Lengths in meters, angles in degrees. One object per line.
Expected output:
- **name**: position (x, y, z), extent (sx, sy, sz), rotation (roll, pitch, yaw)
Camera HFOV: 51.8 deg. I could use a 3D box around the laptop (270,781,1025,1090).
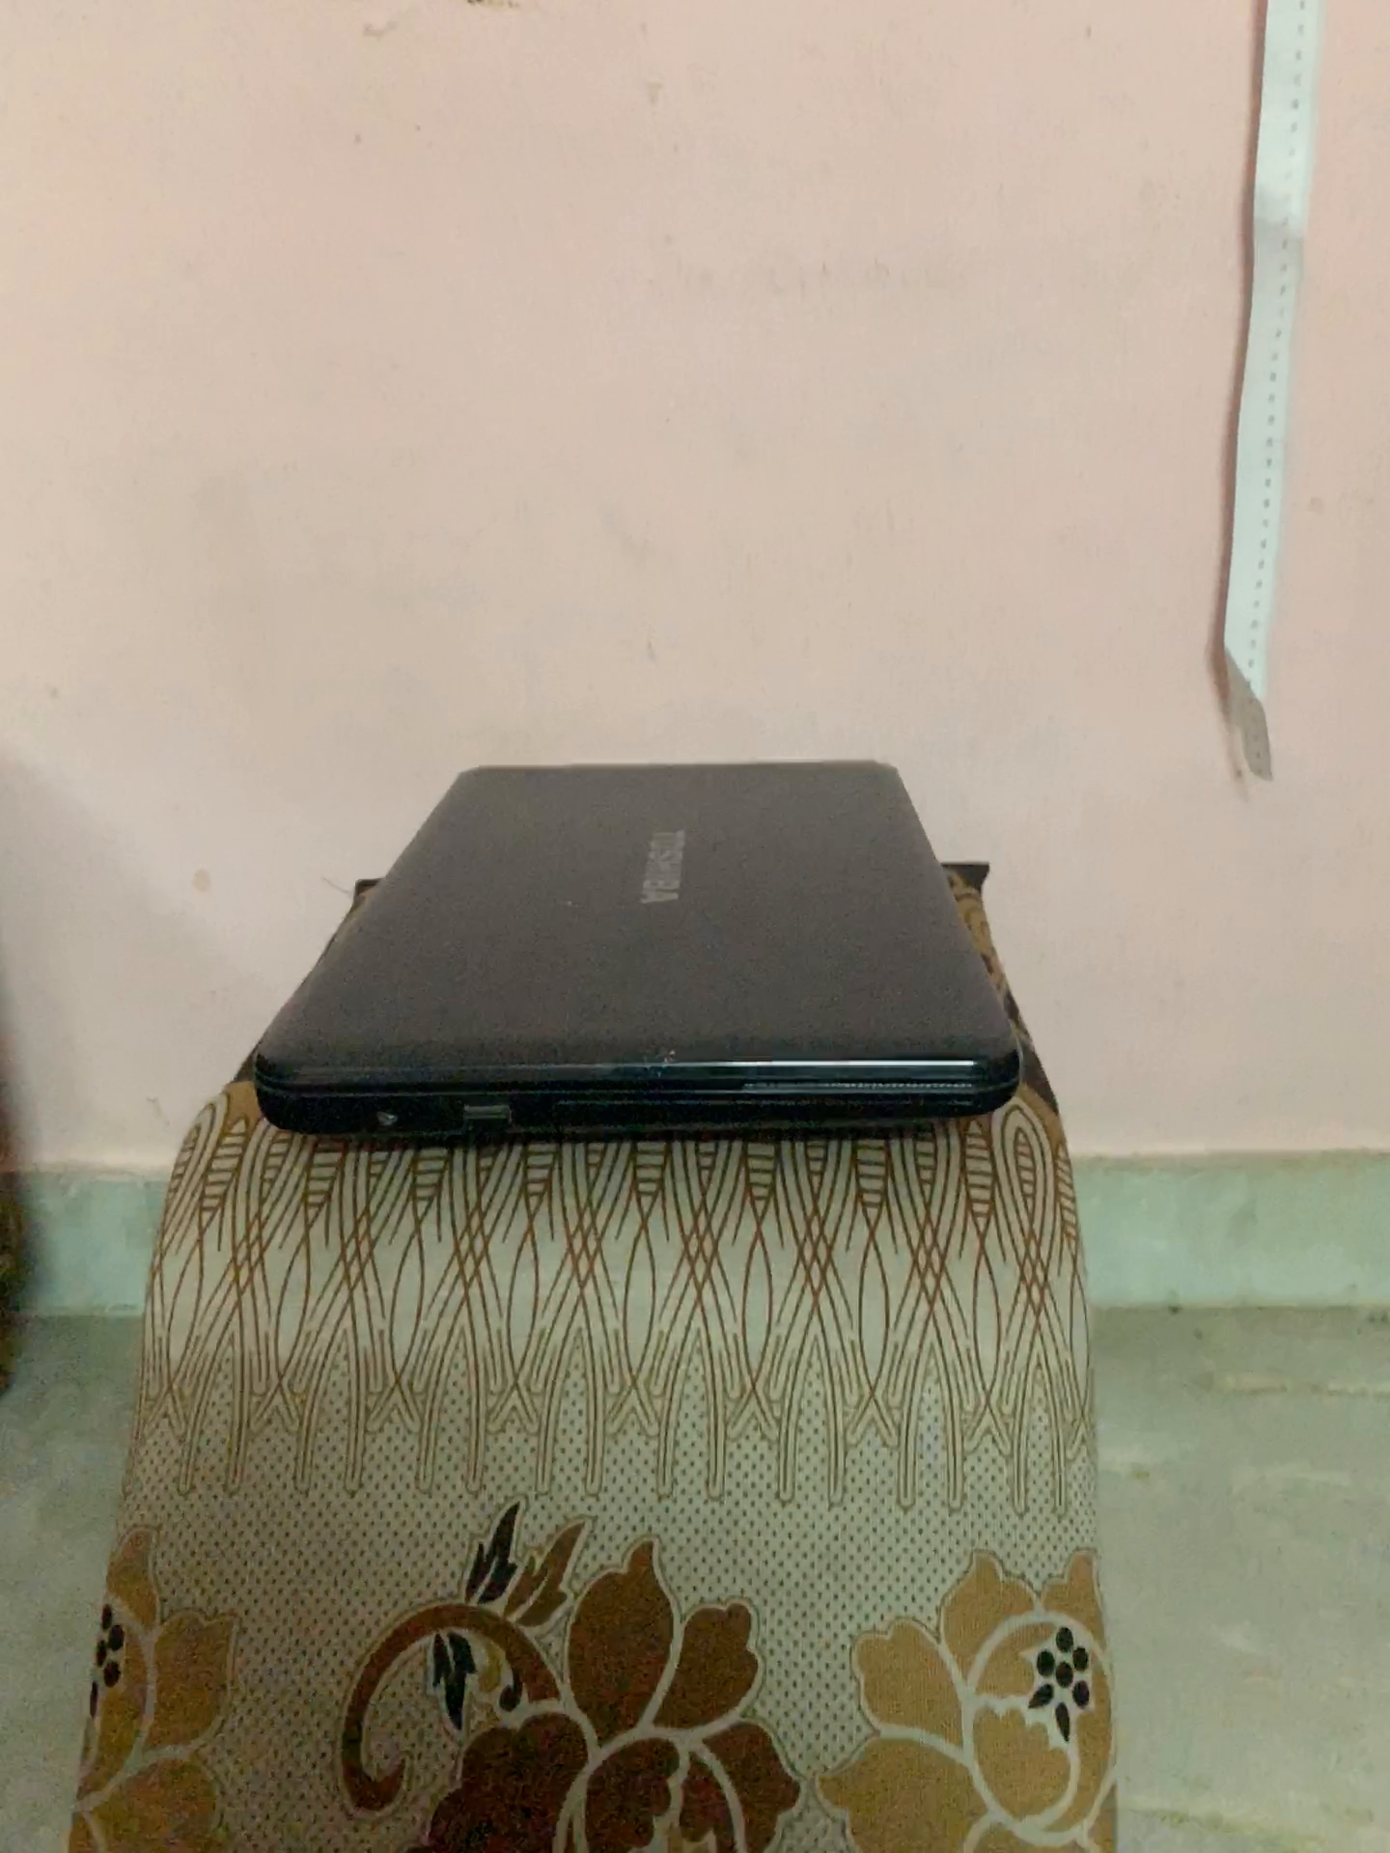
- **laptop**: position (-0.014, -0.015, 0.596), extent (0.222, 0.001, 0.372), rotation (-2, 19, 1)
